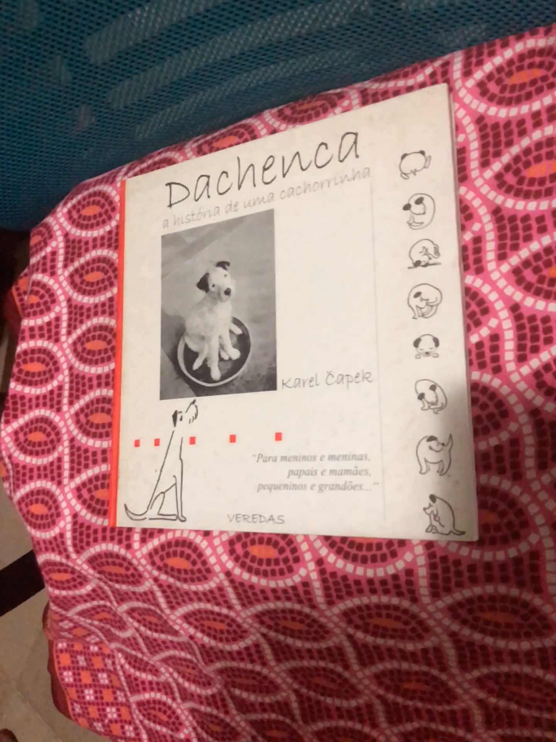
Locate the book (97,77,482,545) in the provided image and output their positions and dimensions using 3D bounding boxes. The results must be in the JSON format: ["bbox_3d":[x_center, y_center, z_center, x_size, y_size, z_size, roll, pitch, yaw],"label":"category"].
[{"bbox_3d":[-0.005,-0.023,0.332,0.206,0.027,0.216,-6,78,27],"label":"book"}]
